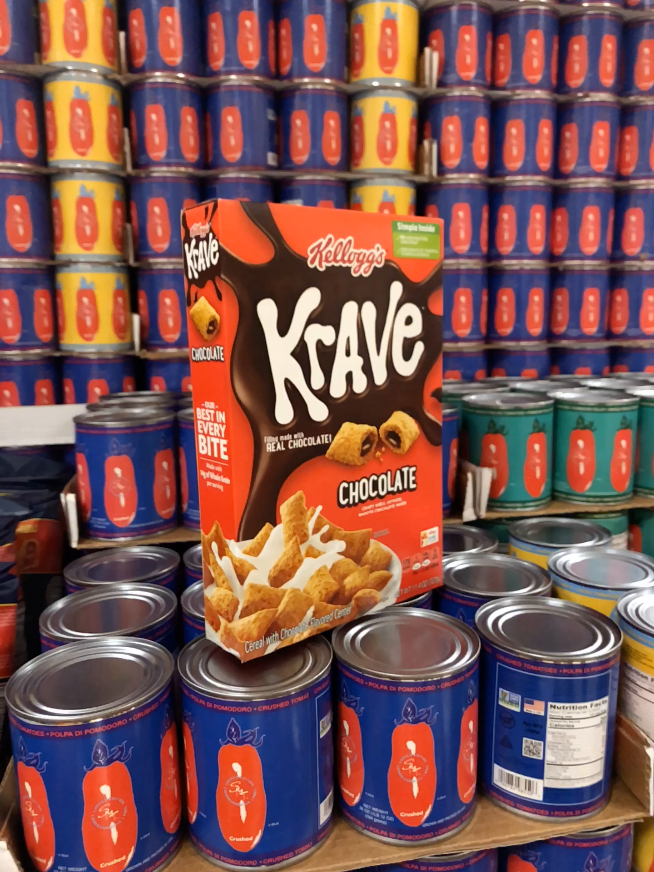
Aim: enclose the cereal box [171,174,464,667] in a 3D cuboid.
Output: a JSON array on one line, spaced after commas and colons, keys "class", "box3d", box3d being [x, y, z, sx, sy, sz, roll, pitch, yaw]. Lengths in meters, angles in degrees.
[{"class": "cereal box", "box3d": [0.006, -0.018, 0.511, 0.211, 0.289, 0.060, -9, 11, -41]}]
